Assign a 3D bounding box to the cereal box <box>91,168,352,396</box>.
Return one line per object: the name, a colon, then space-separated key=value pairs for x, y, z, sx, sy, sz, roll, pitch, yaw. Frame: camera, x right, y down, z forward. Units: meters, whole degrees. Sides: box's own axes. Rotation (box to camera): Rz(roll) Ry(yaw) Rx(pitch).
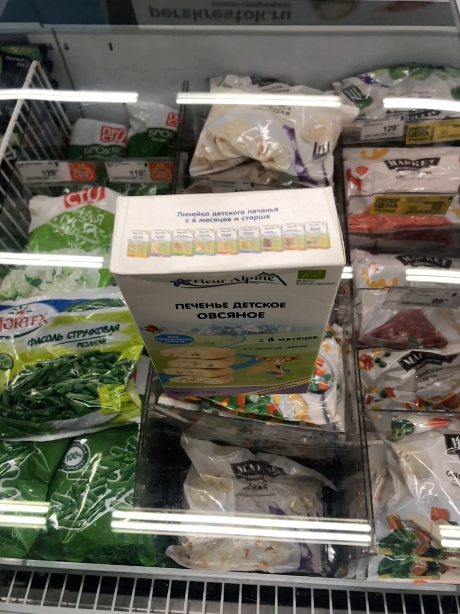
cereal box: x=-0.002 y=0.000 z=0.329 sx=0.120 sy=0.189 sz=0.050 roll=-3 pitch=62 yaw=1
